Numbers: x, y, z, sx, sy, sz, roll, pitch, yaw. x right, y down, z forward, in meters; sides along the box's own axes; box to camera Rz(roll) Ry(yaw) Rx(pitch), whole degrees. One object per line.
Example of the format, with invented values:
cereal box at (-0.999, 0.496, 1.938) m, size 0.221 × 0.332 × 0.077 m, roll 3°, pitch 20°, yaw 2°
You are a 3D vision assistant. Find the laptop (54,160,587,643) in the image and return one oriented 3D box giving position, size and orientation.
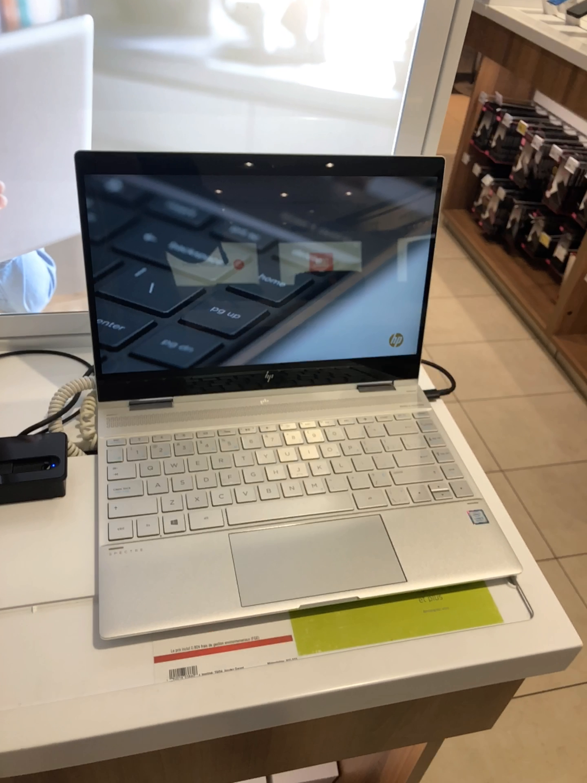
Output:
laptop at (0.001, -0.021, 0.483) m, size 0.299 × 0.193 × 0.283 m, roll -5°, pitch 41°, yaw -13°
